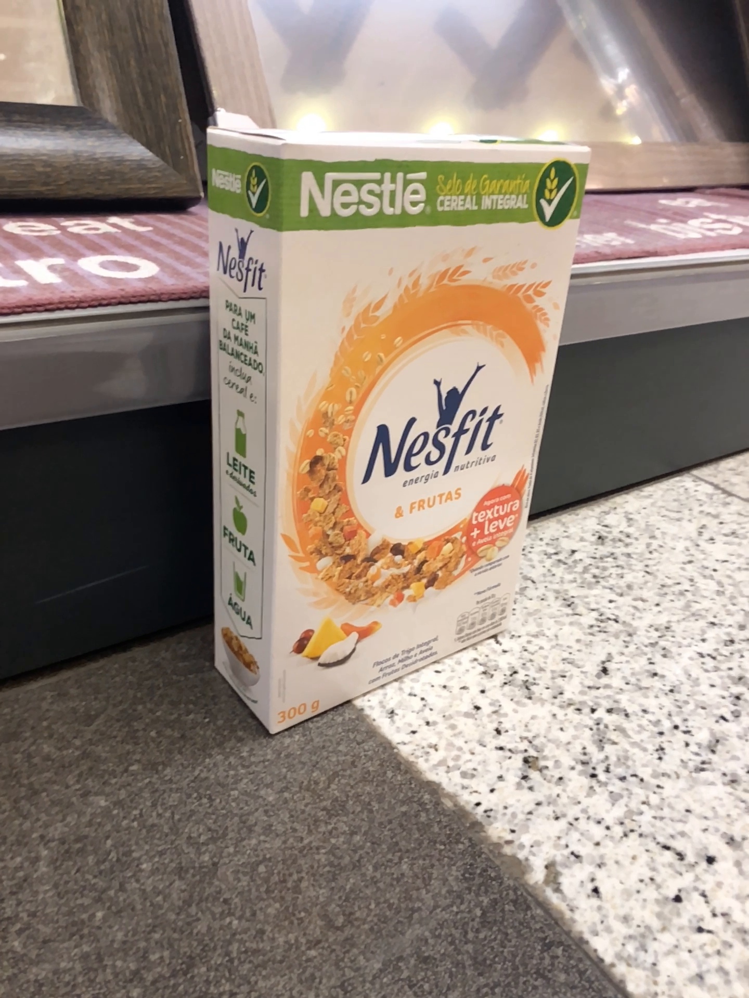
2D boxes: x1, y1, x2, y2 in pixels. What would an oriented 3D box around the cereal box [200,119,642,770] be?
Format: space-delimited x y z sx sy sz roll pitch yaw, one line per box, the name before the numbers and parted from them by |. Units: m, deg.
cereal box | 0.015 -0.027 0.368 0.171 0.248 0.060 -17 34 -36
